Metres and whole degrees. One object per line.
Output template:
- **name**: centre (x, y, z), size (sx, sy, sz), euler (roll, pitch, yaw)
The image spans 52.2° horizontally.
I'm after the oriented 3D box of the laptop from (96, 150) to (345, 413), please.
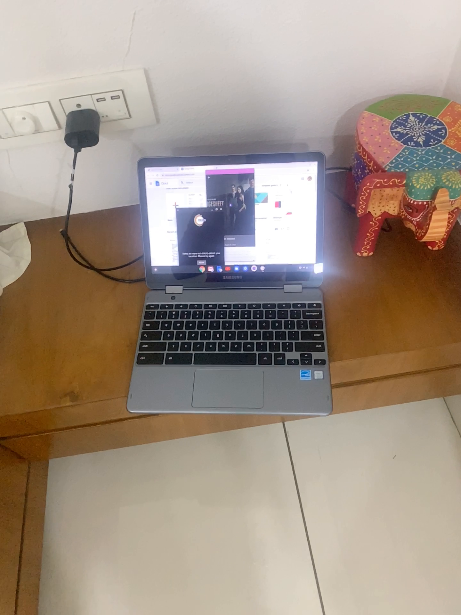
- **laptop**: centre (0.000, -0.046, 0.759), size (0.314, 0.164, 0.384), euler (-1, 59, 6)
